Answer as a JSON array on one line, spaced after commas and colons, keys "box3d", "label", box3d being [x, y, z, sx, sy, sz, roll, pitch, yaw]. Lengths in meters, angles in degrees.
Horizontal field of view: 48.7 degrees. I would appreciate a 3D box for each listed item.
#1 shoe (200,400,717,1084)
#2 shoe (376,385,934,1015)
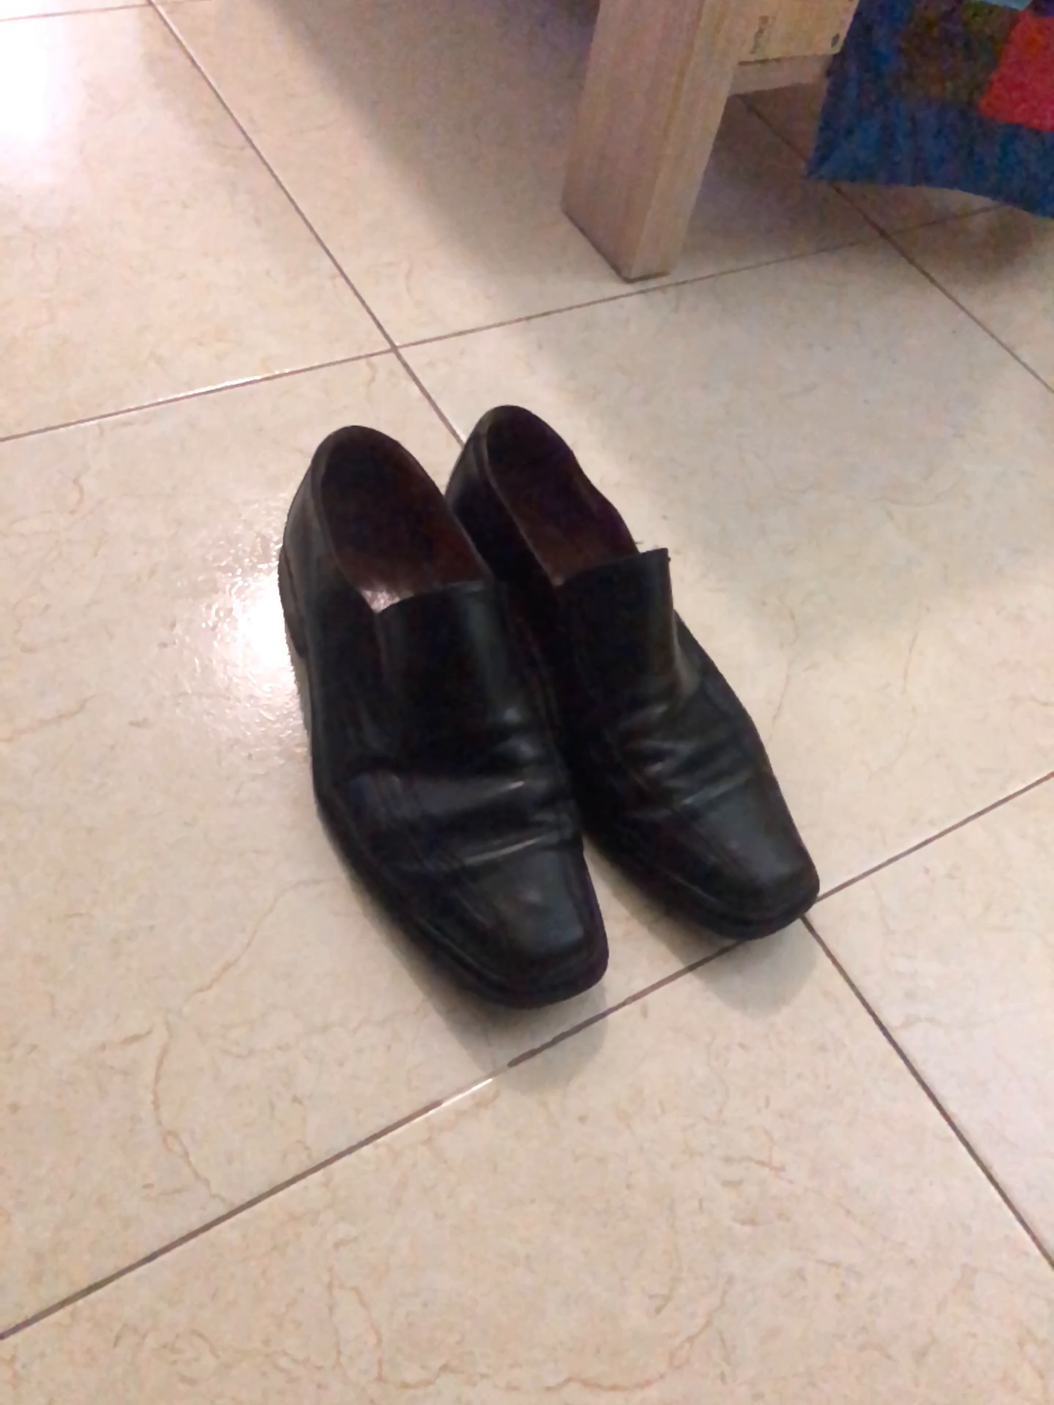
[{"box3d": [-0.049, 0.002, 0.559, 0.120, 0.090, 0.311, -17, 60, -22], "label": "shoe"}, {"box3d": [0.047, -0.016, 0.600, 0.120, 0.090, 0.310, -21, 62, -24], "label": "shoe"}]
